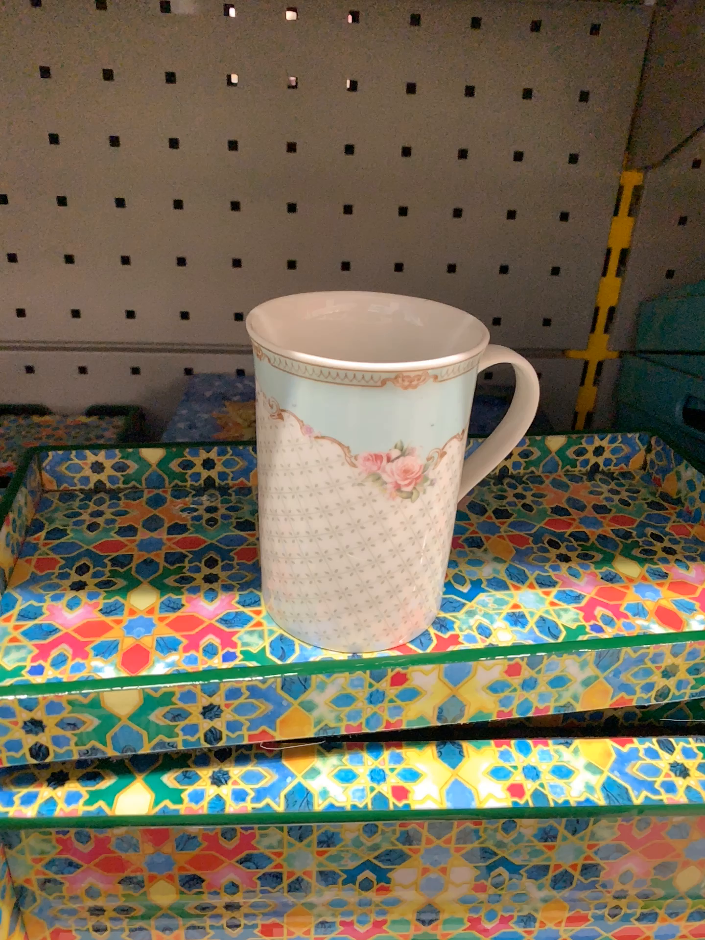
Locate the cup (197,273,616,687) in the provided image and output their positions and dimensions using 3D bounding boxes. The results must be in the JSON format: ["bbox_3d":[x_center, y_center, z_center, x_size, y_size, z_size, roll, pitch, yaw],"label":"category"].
[{"bbox_3d":[0.015,-0.006,0.260,0.110,0.100,0.080,-15,32,-30],"label":"cup"}]
